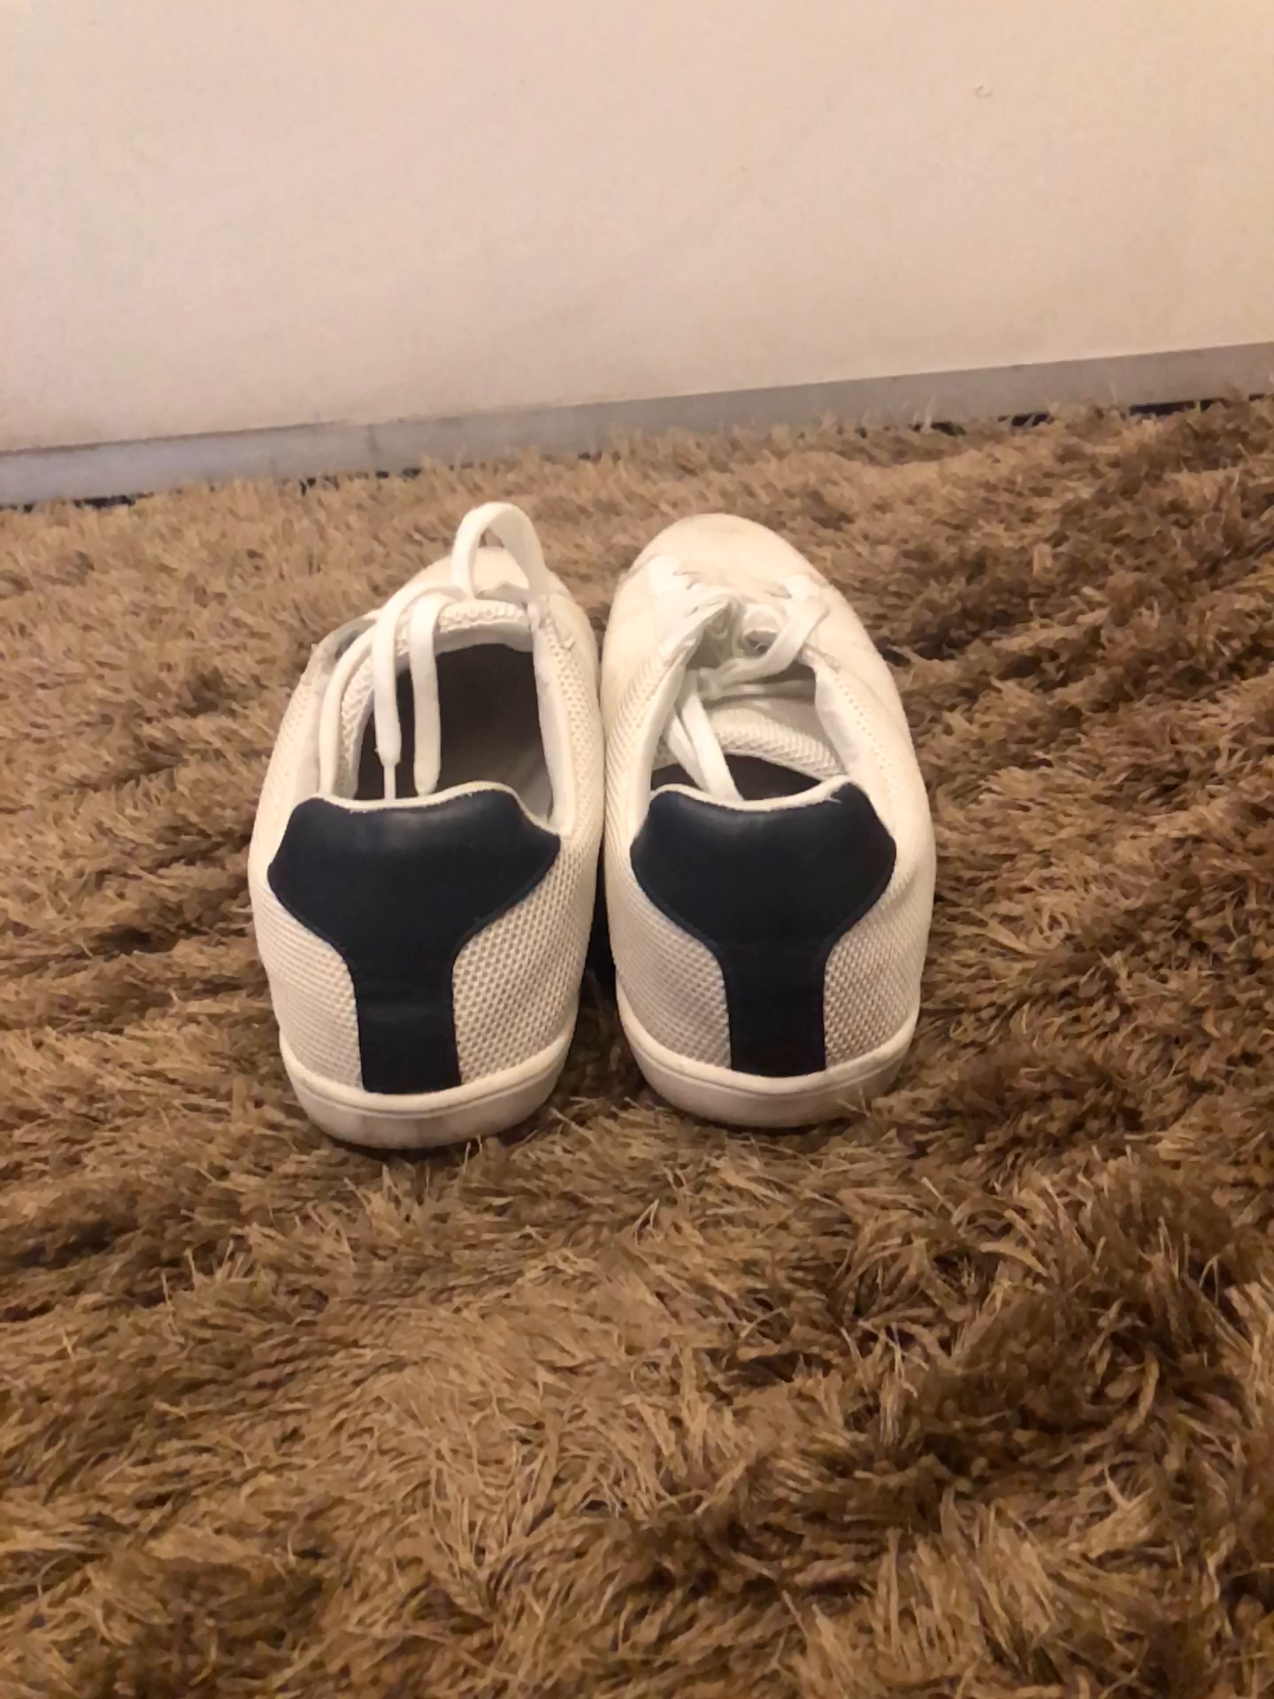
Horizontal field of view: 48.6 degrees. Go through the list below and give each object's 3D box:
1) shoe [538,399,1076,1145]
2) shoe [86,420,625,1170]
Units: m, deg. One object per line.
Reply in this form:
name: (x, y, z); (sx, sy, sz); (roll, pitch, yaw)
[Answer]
shoe: (0.034, -0.044, 0.405); (0.104, 0.079, 0.265); (-4, 35, 2)
shoe: (-0.058, -0.038, 0.408); (0.100, 0.079, 0.265); (-4, 35, 2)
